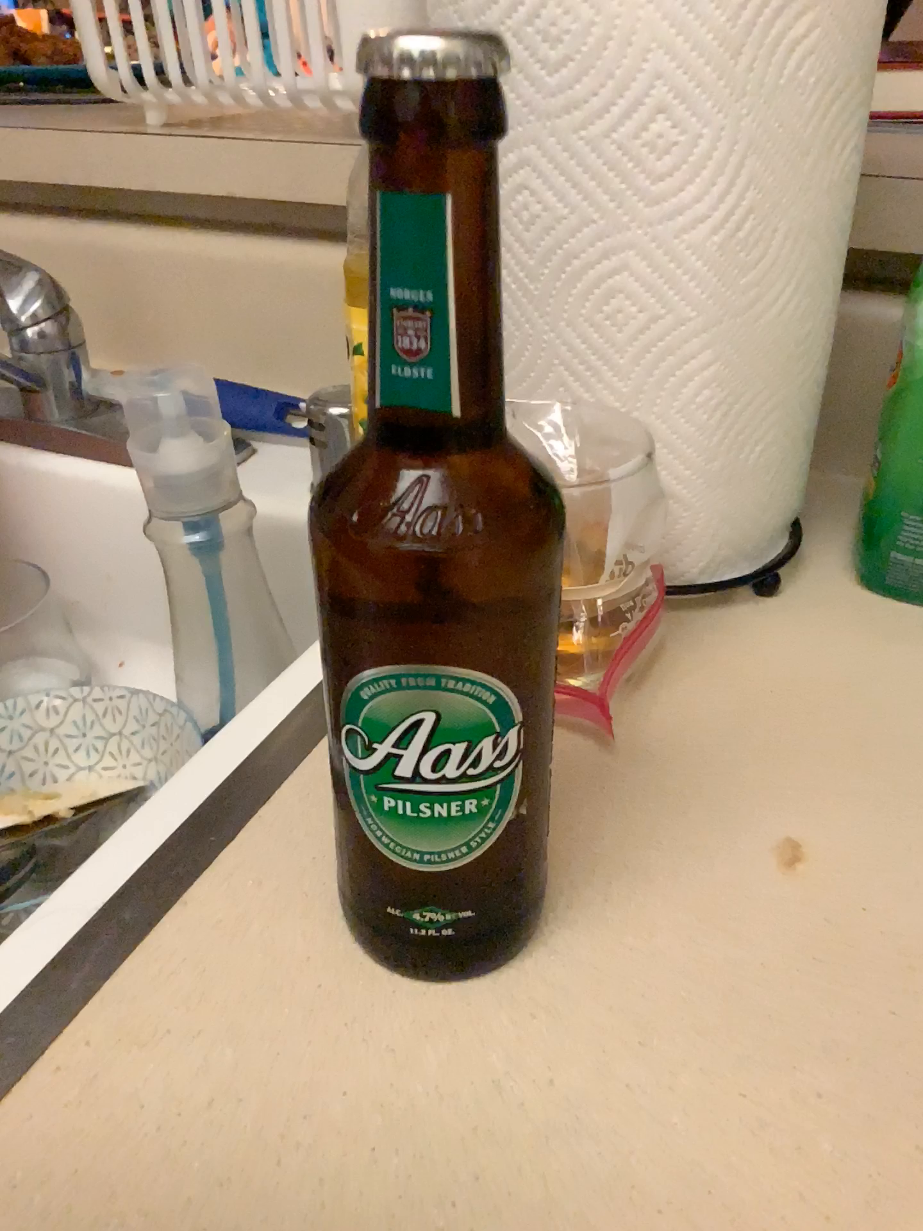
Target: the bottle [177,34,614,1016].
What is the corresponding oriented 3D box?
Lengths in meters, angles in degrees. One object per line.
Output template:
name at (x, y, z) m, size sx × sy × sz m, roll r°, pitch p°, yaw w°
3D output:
bottle at (-0.008, -0.007, 0.248) m, size 0.070 × 0.230 × 0.060 m, roll 2°, pitch 31°, yaw 4°
